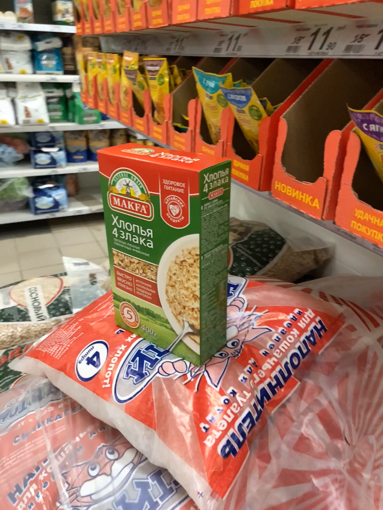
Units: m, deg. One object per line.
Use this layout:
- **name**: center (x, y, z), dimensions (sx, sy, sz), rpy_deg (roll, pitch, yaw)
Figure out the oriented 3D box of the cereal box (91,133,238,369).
- **cereal box**: center (-0.030, -0.006, 0.448), dimensions (0.140, 0.219, 0.050), rpy_deg (18, 31, 32)
